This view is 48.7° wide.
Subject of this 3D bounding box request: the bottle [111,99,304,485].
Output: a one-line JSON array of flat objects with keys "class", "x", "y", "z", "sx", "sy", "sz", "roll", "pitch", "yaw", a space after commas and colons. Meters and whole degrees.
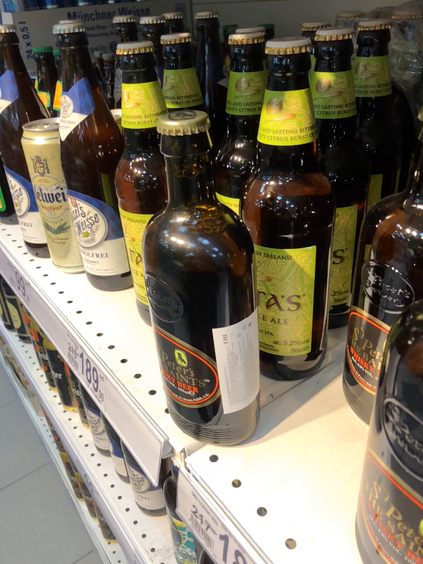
[{"class": "bottle", "x": 0.001, "y": 0.011, "z": 0.304, "sx": 0.060, "sy": 0.229, "sz": 0.090, "roll": -24, "pitch": 36, "yaw": -29}]
